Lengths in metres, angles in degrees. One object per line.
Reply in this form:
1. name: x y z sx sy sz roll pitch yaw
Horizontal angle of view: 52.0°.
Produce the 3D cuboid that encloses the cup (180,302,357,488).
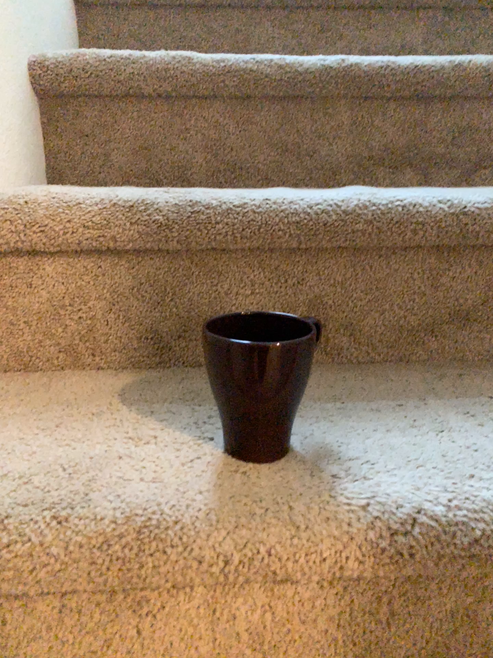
1. cup: 0.019 0.042 0.396 0.110 0.100 0.080 -14 20 -41
